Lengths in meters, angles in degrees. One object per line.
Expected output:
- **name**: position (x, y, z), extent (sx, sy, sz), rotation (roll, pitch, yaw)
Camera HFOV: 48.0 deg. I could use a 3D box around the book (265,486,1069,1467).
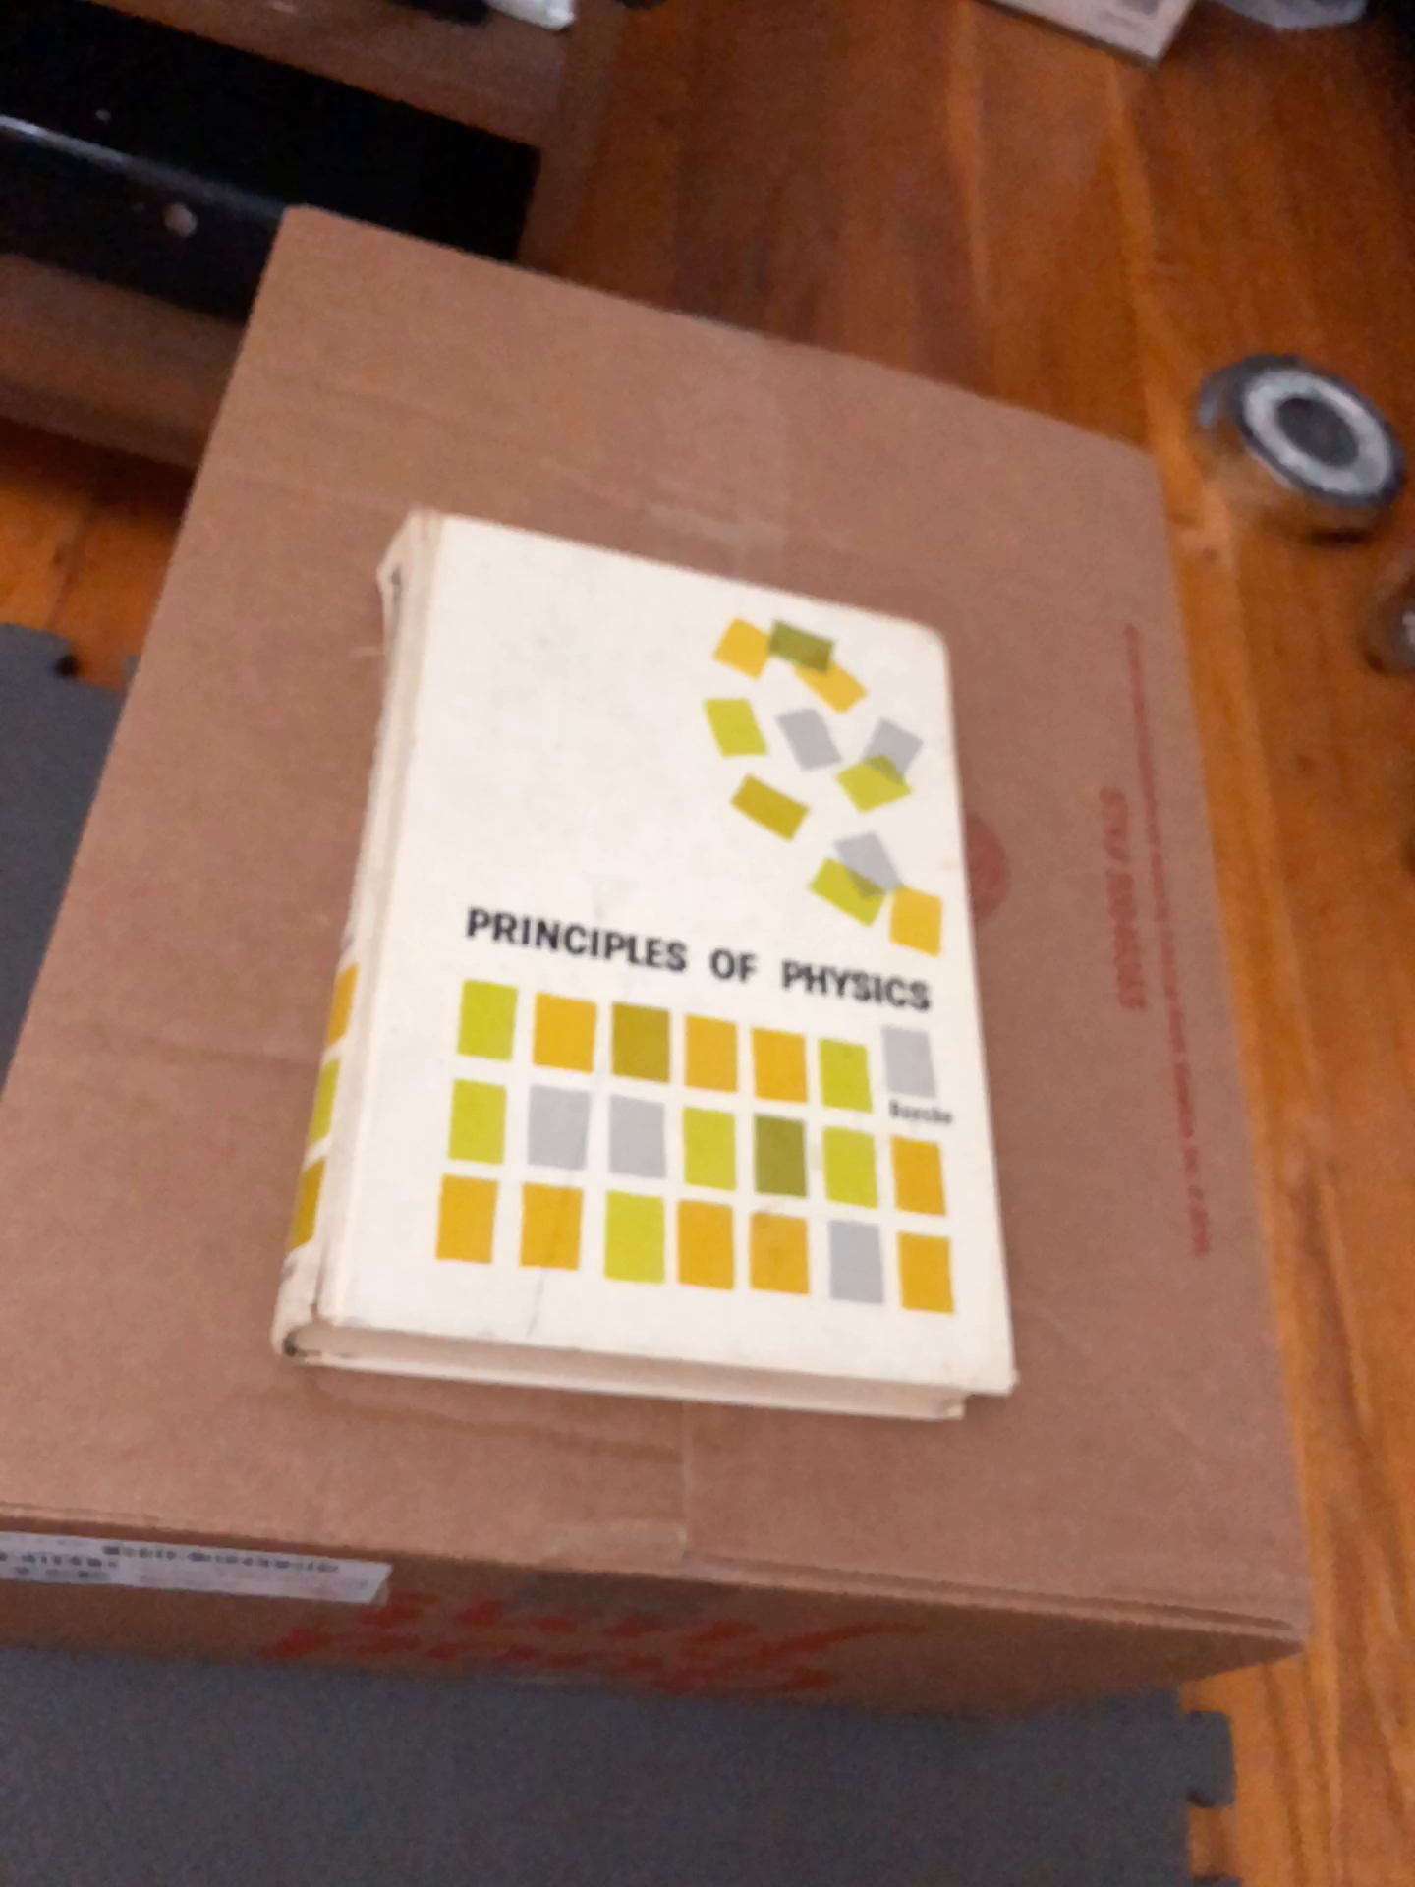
- **book**: position (-0.005, 0.001, 0.429), extent (0.180, 0.040, 0.251), rotation (10, 58, -14)
